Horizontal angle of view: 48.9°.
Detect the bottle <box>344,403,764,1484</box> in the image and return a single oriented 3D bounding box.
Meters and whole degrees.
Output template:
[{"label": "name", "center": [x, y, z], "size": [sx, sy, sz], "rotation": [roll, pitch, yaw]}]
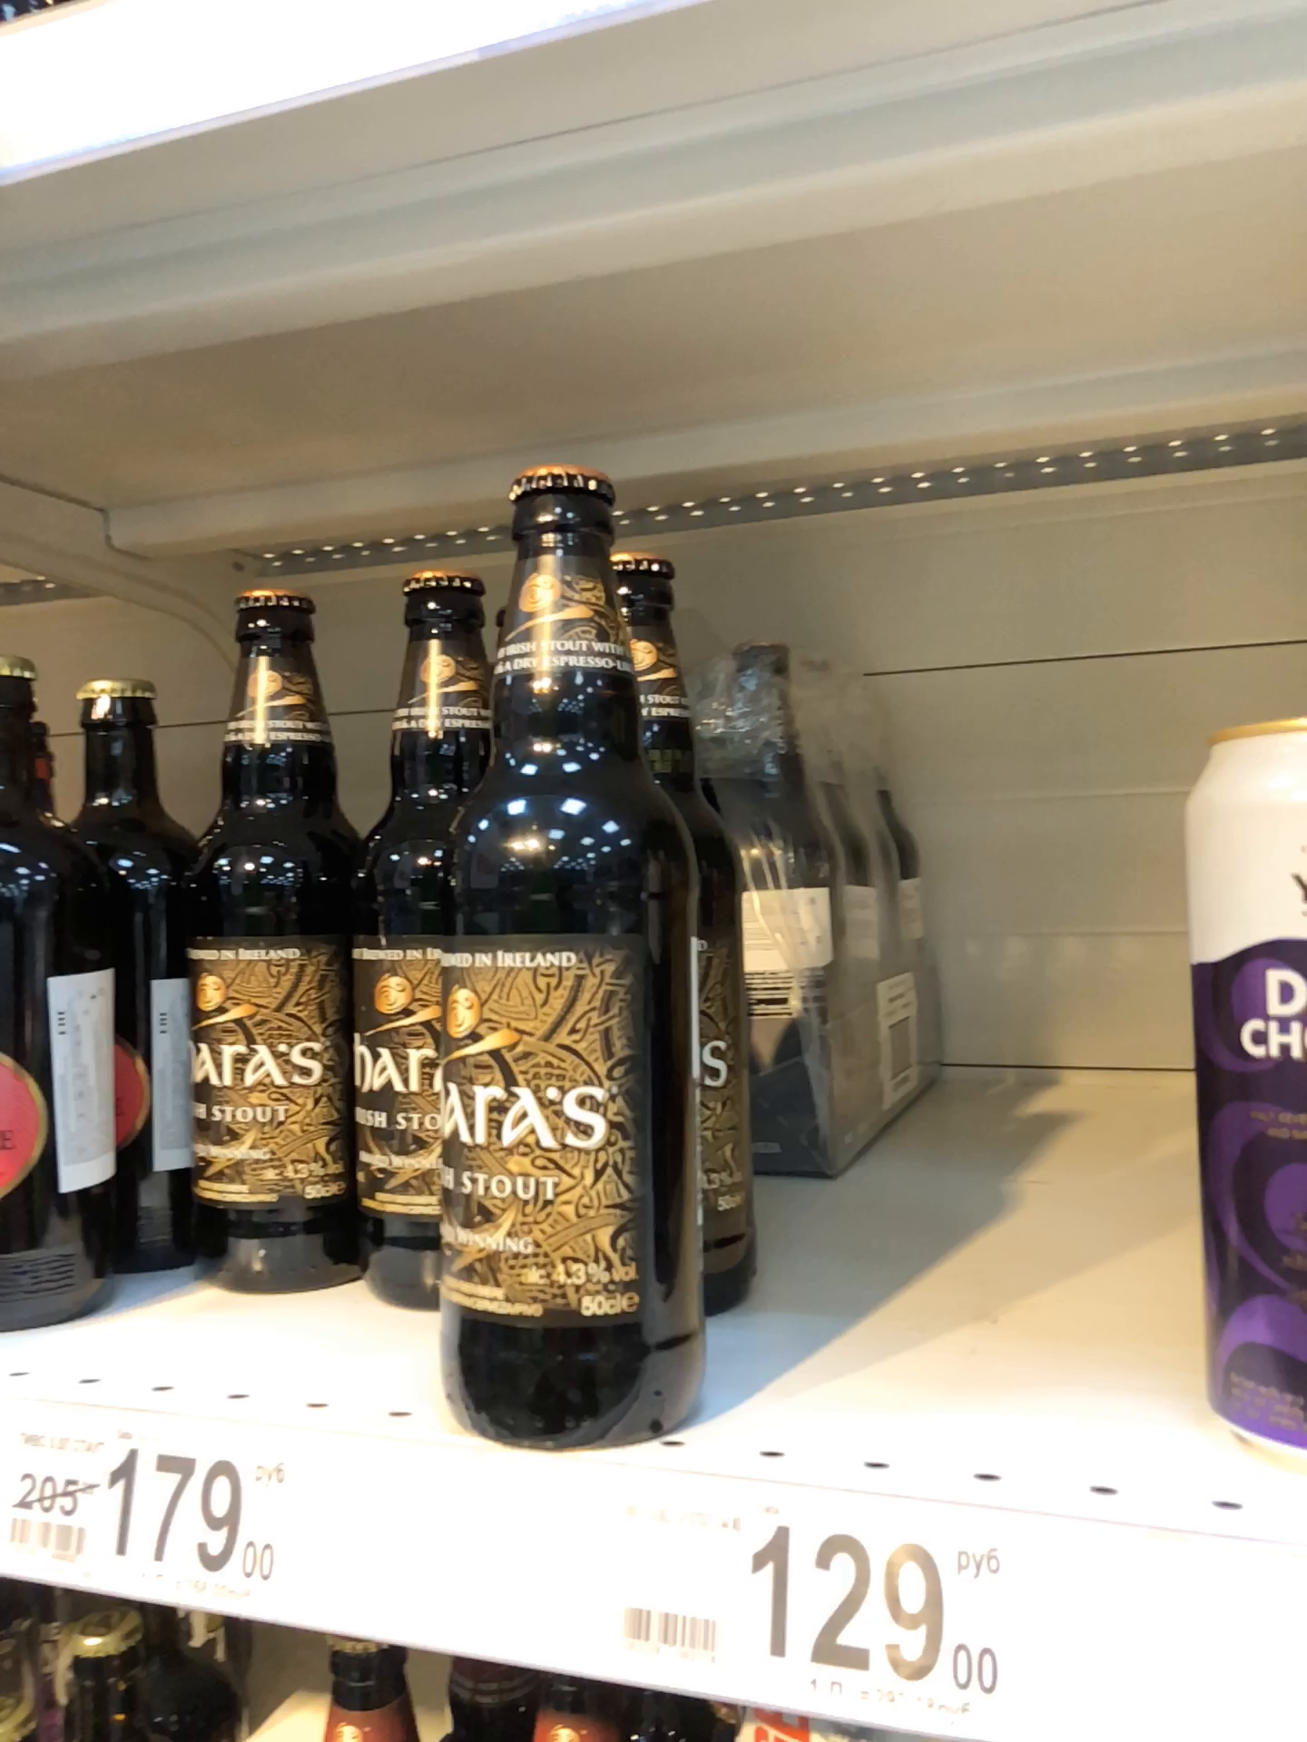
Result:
[{"label": "bottle", "center": [-0.026, 0.015, 0.368], "size": [0.070, 0.240, 0.070], "rotation": [-2, 0, 0]}]
